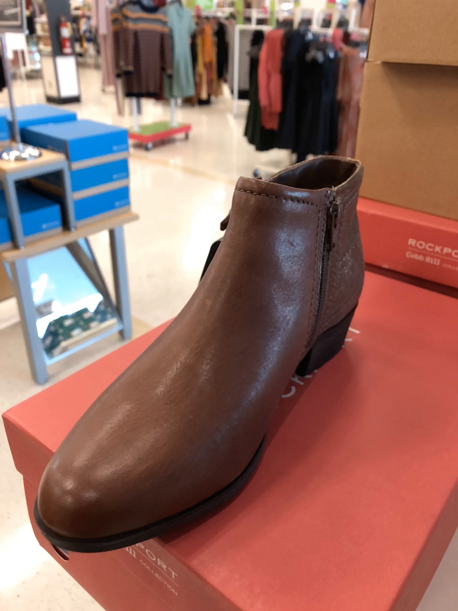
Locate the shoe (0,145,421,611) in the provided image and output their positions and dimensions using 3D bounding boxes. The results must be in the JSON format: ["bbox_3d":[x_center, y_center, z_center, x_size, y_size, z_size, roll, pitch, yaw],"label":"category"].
[{"bbox_3d":[0.001,0.003,0.286,0.101,0.119,0.281,20,35,30],"label":"shoe"}]
